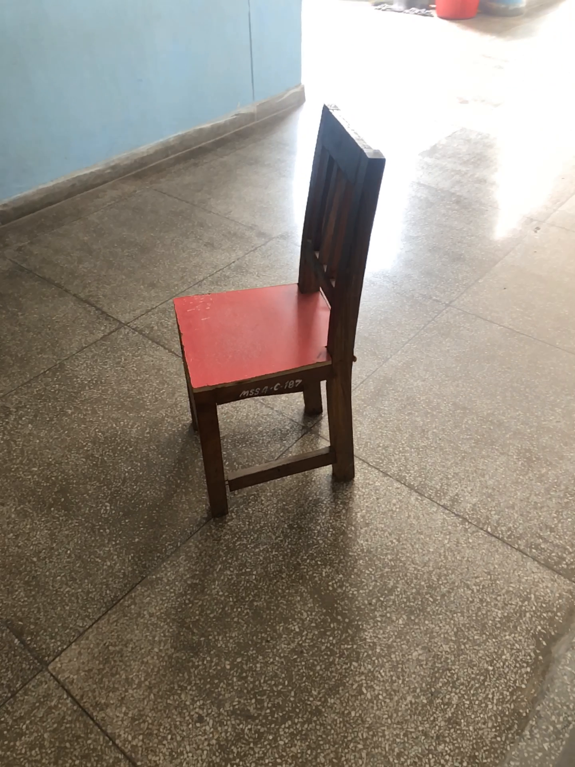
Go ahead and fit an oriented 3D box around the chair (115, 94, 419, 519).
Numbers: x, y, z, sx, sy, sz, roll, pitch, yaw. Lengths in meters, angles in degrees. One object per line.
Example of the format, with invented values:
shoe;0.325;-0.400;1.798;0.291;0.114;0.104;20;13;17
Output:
chair;-0.059;-0.147;1.451;0.480;0.817;0.401;-11;44;-11
